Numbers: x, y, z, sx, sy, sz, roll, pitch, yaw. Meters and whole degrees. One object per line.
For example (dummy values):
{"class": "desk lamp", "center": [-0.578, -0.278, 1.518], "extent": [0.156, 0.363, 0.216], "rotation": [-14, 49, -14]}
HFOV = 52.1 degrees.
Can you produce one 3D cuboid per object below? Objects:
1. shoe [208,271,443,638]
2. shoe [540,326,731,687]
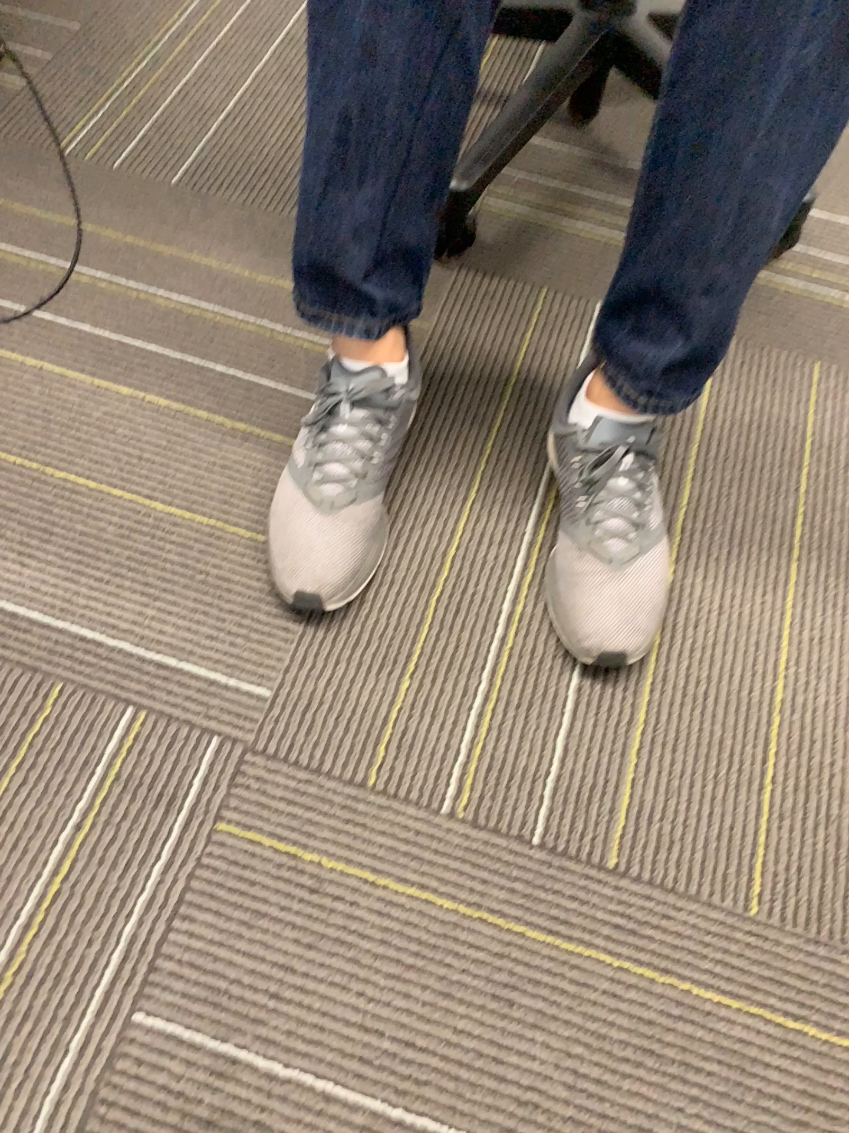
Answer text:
{"class": "shoe", "center": [-0.077, -0.104, 0.773], "extent": [0.120, 0.123, 0.291], "rotation": [12, 61, 3]}
{"class": "shoe", "center": [0.173, -0.056, 0.770], "extent": [0.120, 0.123, 0.291], "rotation": [4, 61, -1]}
